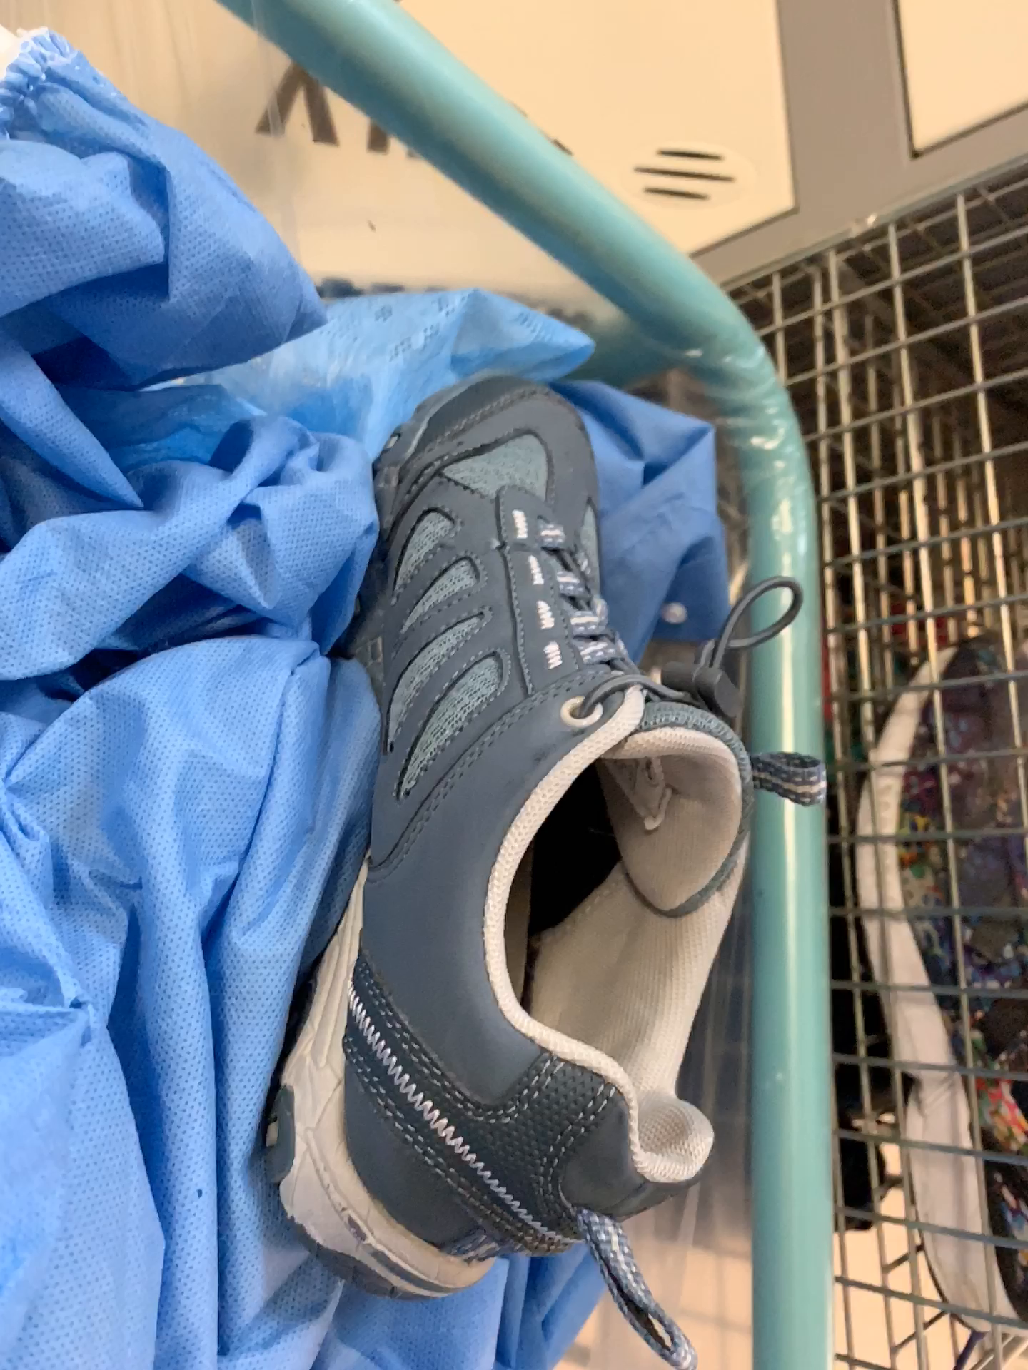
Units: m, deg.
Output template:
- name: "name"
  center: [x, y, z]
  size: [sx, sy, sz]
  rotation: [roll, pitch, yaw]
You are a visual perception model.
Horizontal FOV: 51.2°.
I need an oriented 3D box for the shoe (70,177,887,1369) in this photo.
- name: "shoe"
  center: [0.009, 0.018, 0.265]
  size: [0.102, 0.109, 0.241]
  rotation: [36, 57, -39]
